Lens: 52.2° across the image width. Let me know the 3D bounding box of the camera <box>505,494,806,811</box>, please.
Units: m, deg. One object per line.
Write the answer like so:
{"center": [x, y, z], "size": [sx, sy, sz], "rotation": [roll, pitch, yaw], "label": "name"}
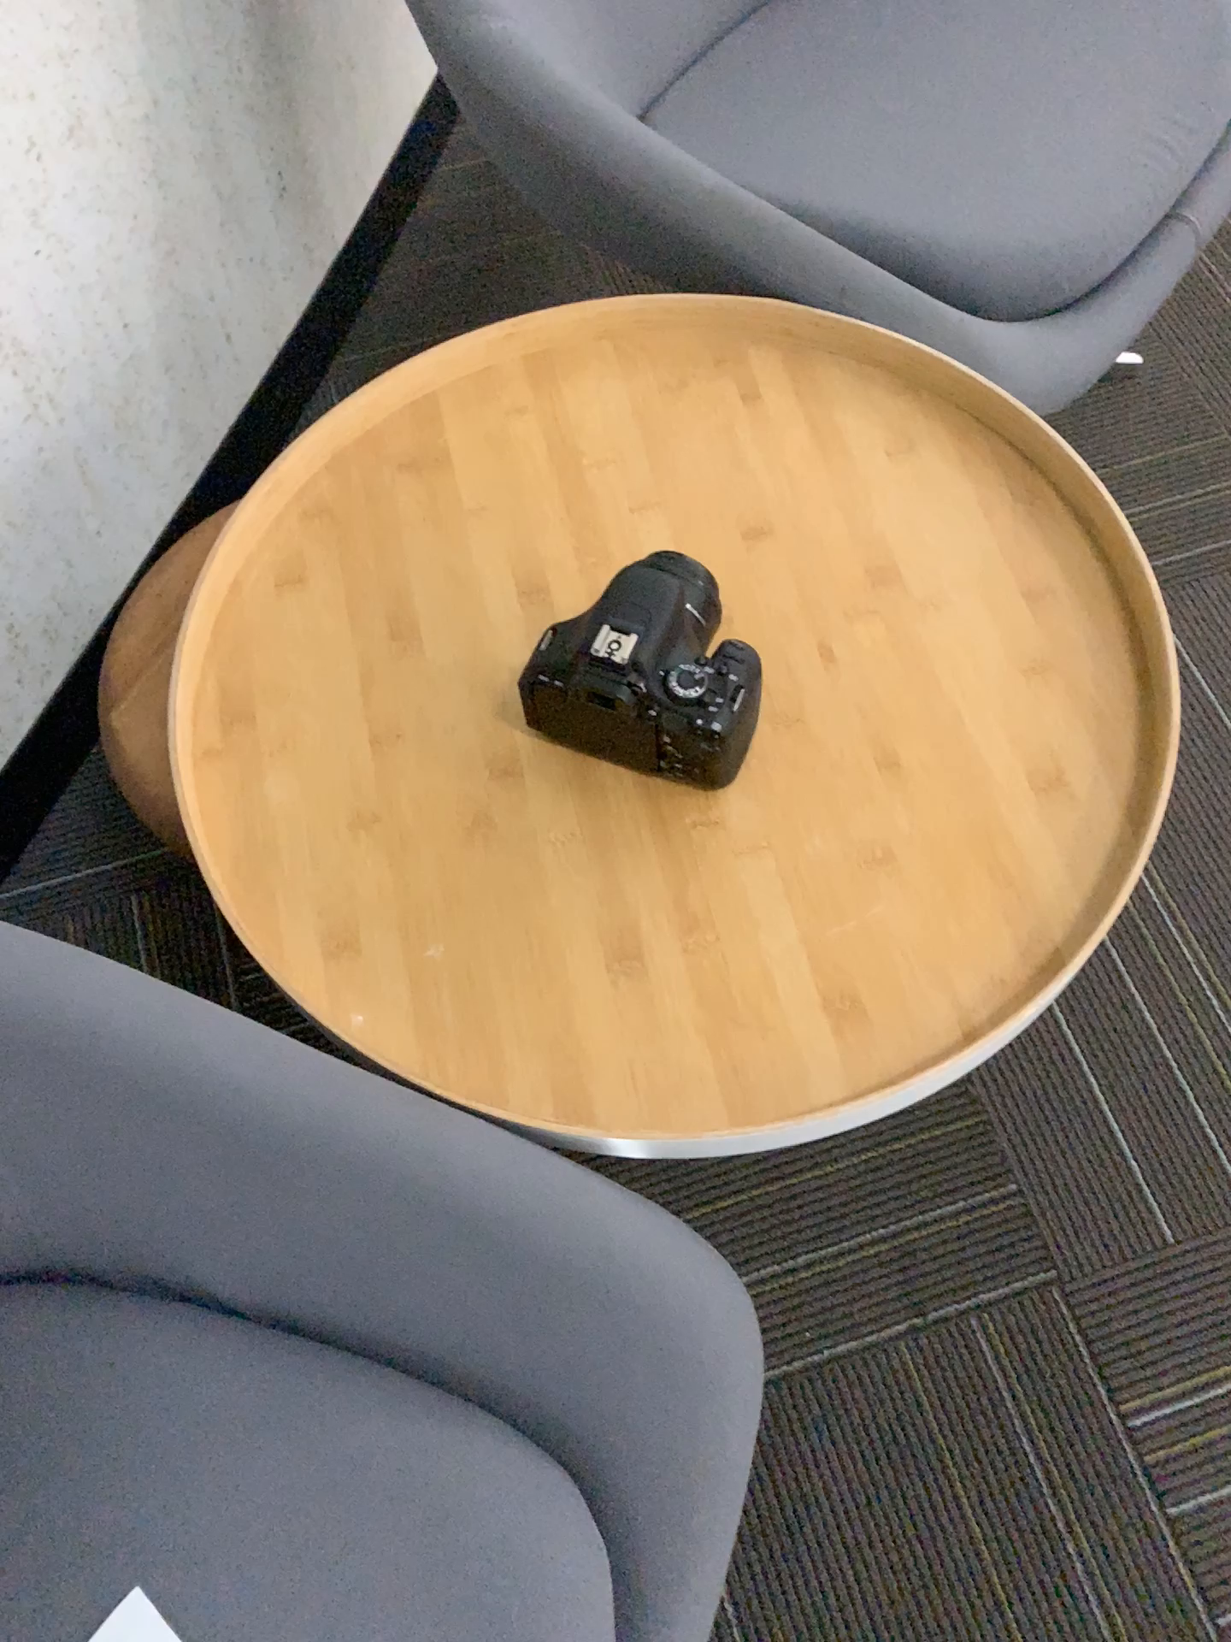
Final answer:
{"center": [0.025, -0.098, 0.739], "size": [0.133, 0.100, 0.117], "rotation": [19, 65, 11], "label": "camera"}
